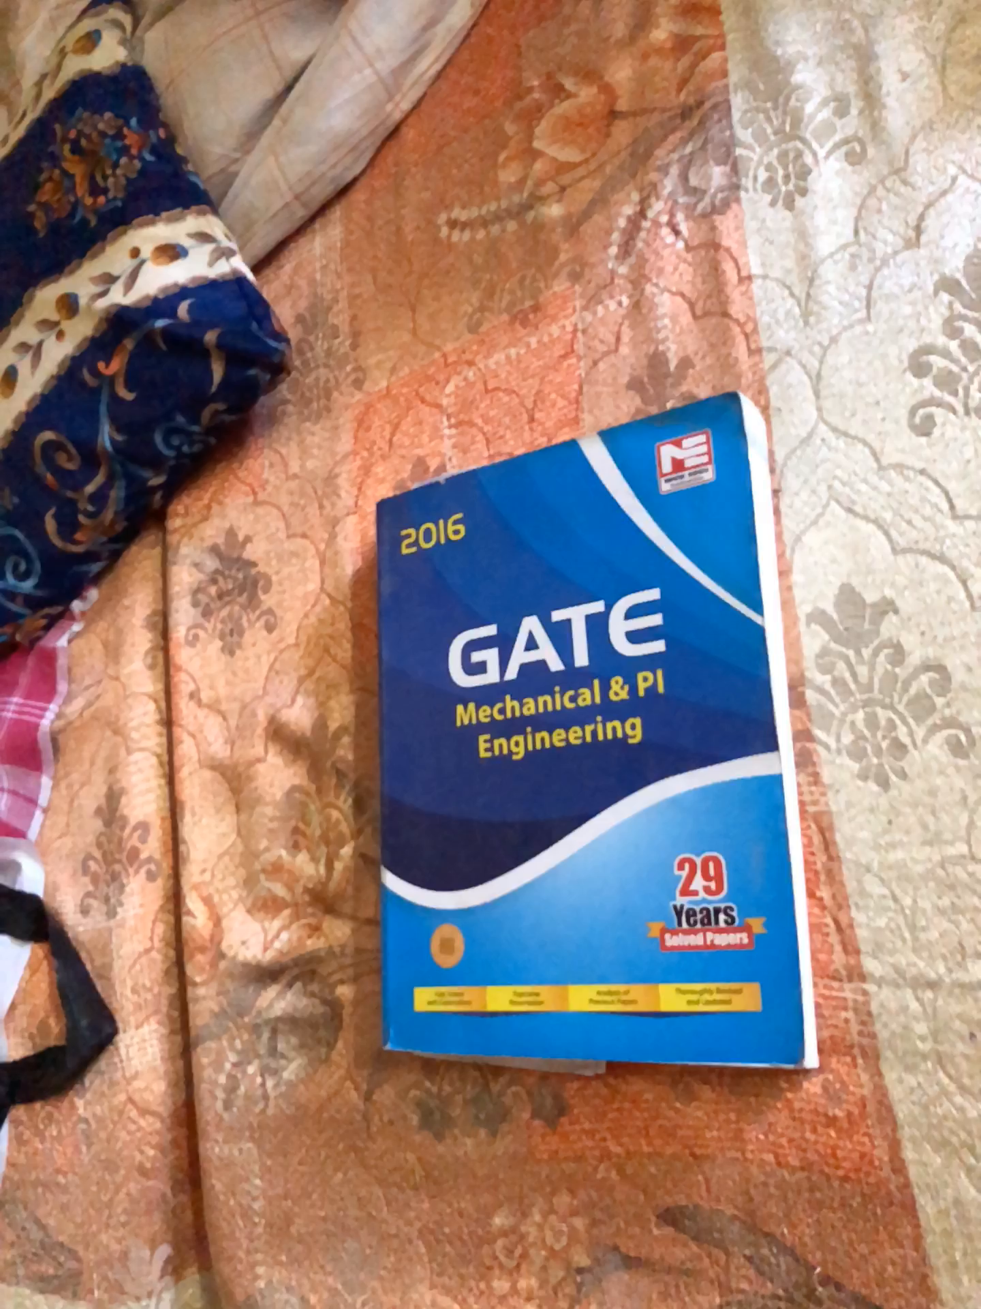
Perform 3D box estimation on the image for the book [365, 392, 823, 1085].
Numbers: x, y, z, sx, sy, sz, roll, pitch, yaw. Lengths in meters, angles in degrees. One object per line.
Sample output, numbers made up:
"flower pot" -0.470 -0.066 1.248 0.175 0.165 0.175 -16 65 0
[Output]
"book" 0.036 0.043 0.512 0.201 0.051 0.280 -10 73 33
